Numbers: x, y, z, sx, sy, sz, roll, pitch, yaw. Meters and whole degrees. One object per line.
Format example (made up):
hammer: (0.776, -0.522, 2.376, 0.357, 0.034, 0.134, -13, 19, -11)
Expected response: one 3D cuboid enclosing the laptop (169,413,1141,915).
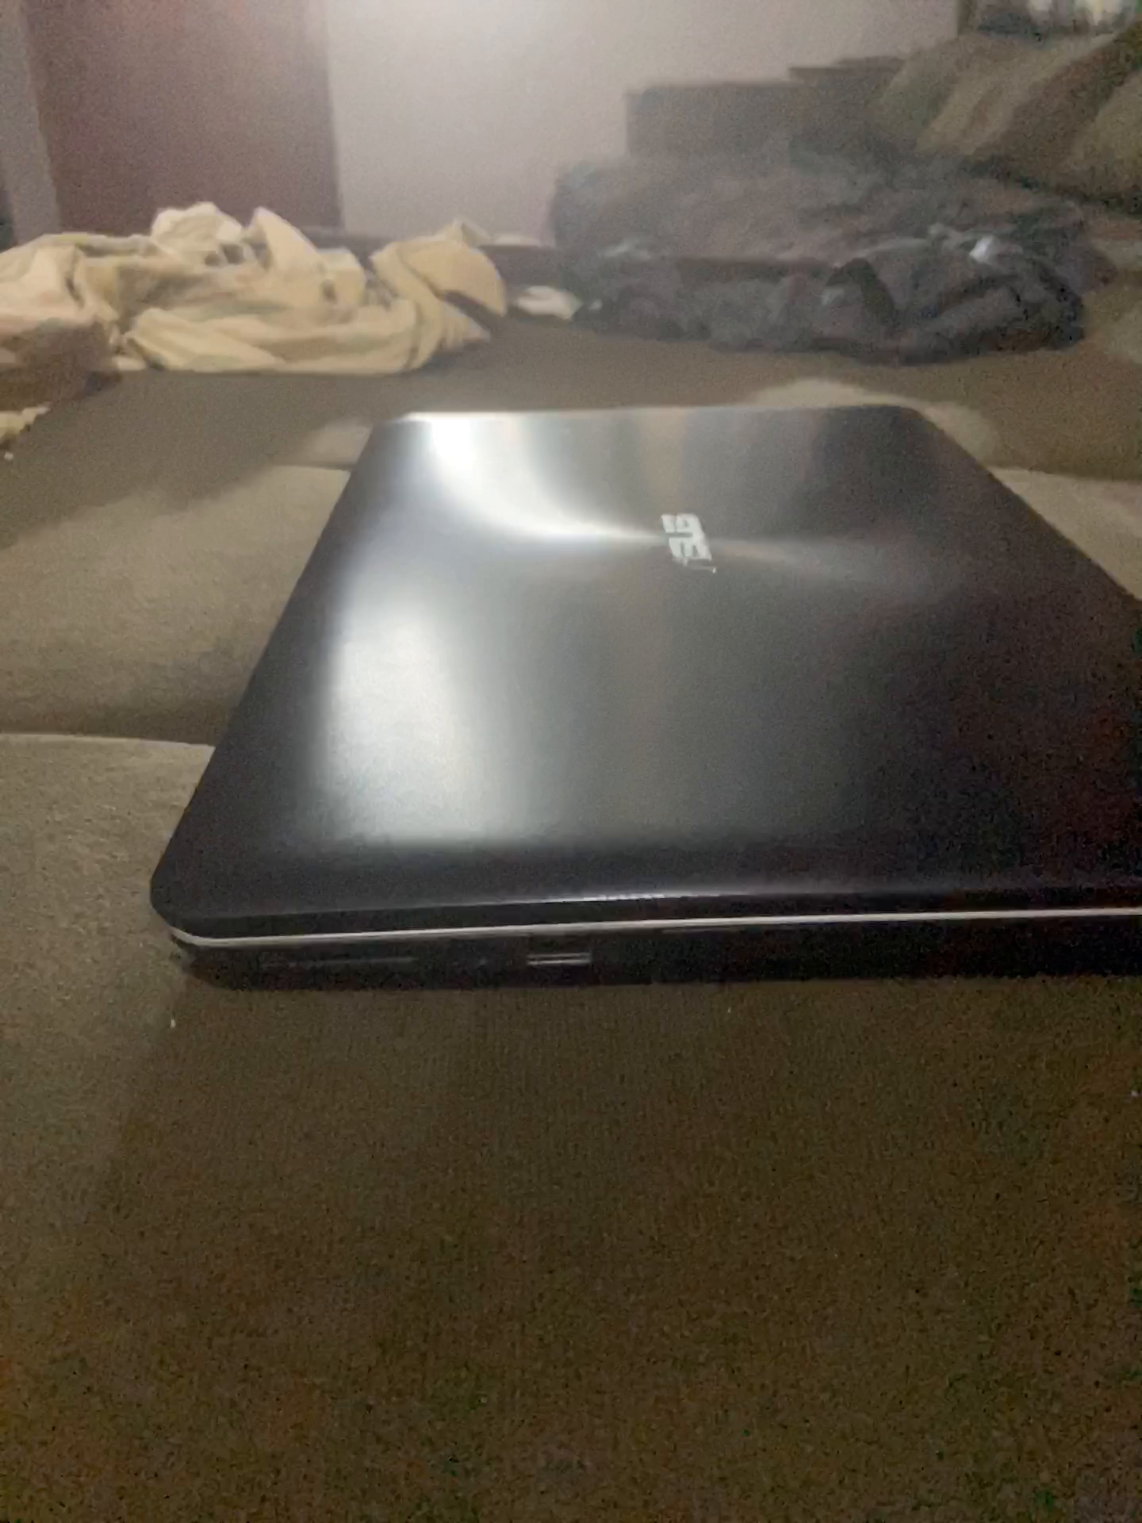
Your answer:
laptop: (0.033, -0.067, 0.404, 0.234, 0.004, 0.372, -2, 30, 0)
